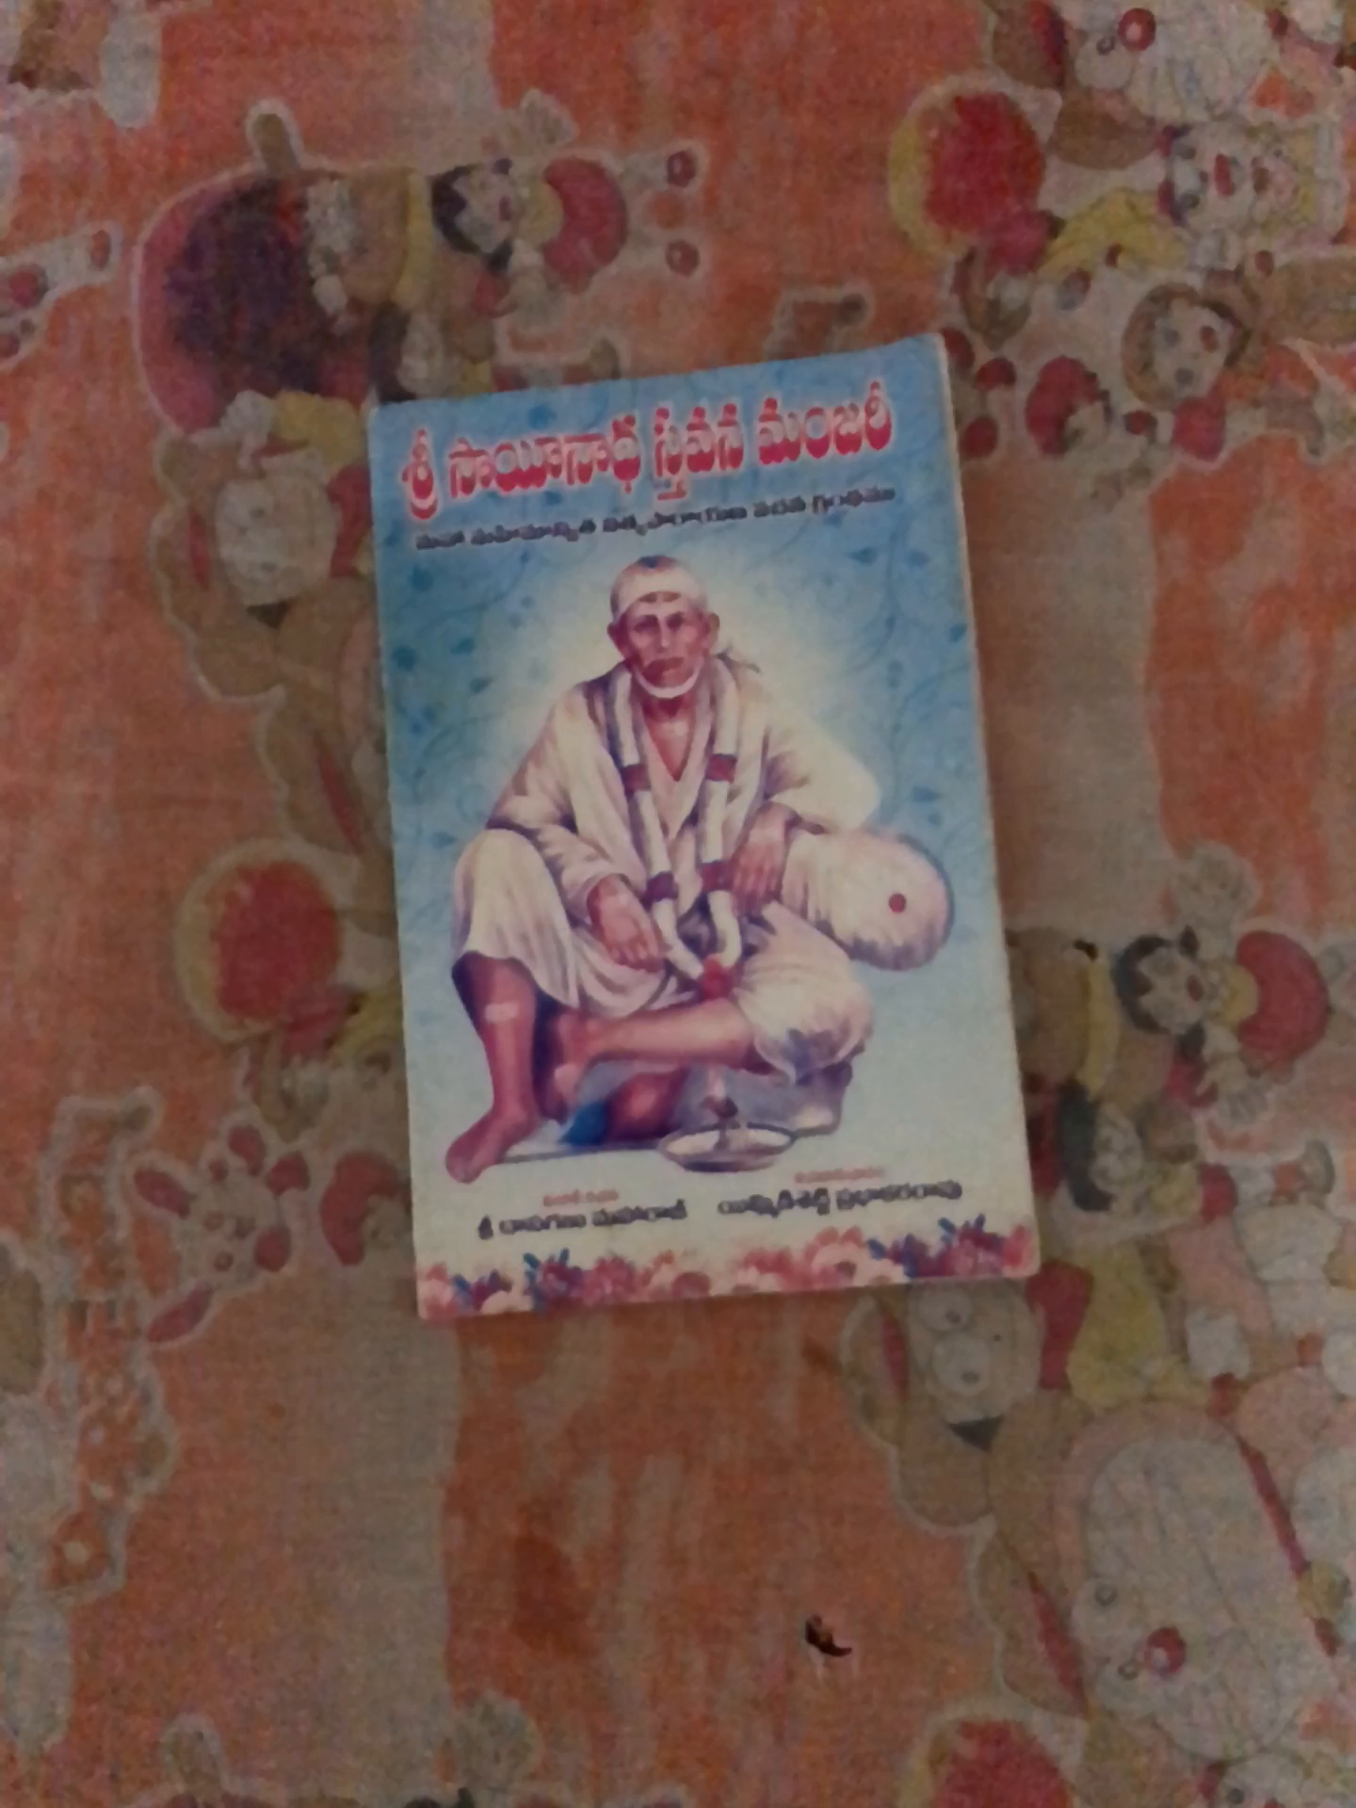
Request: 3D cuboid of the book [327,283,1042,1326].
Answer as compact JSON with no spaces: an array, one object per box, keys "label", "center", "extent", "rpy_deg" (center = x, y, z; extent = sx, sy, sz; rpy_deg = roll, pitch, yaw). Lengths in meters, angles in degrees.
[{"label":"book","center":[-0.001,-0.024,0.342],"extent":[0.140,0.020,0.220],"rpy_deg":[-4,85,1]}]
